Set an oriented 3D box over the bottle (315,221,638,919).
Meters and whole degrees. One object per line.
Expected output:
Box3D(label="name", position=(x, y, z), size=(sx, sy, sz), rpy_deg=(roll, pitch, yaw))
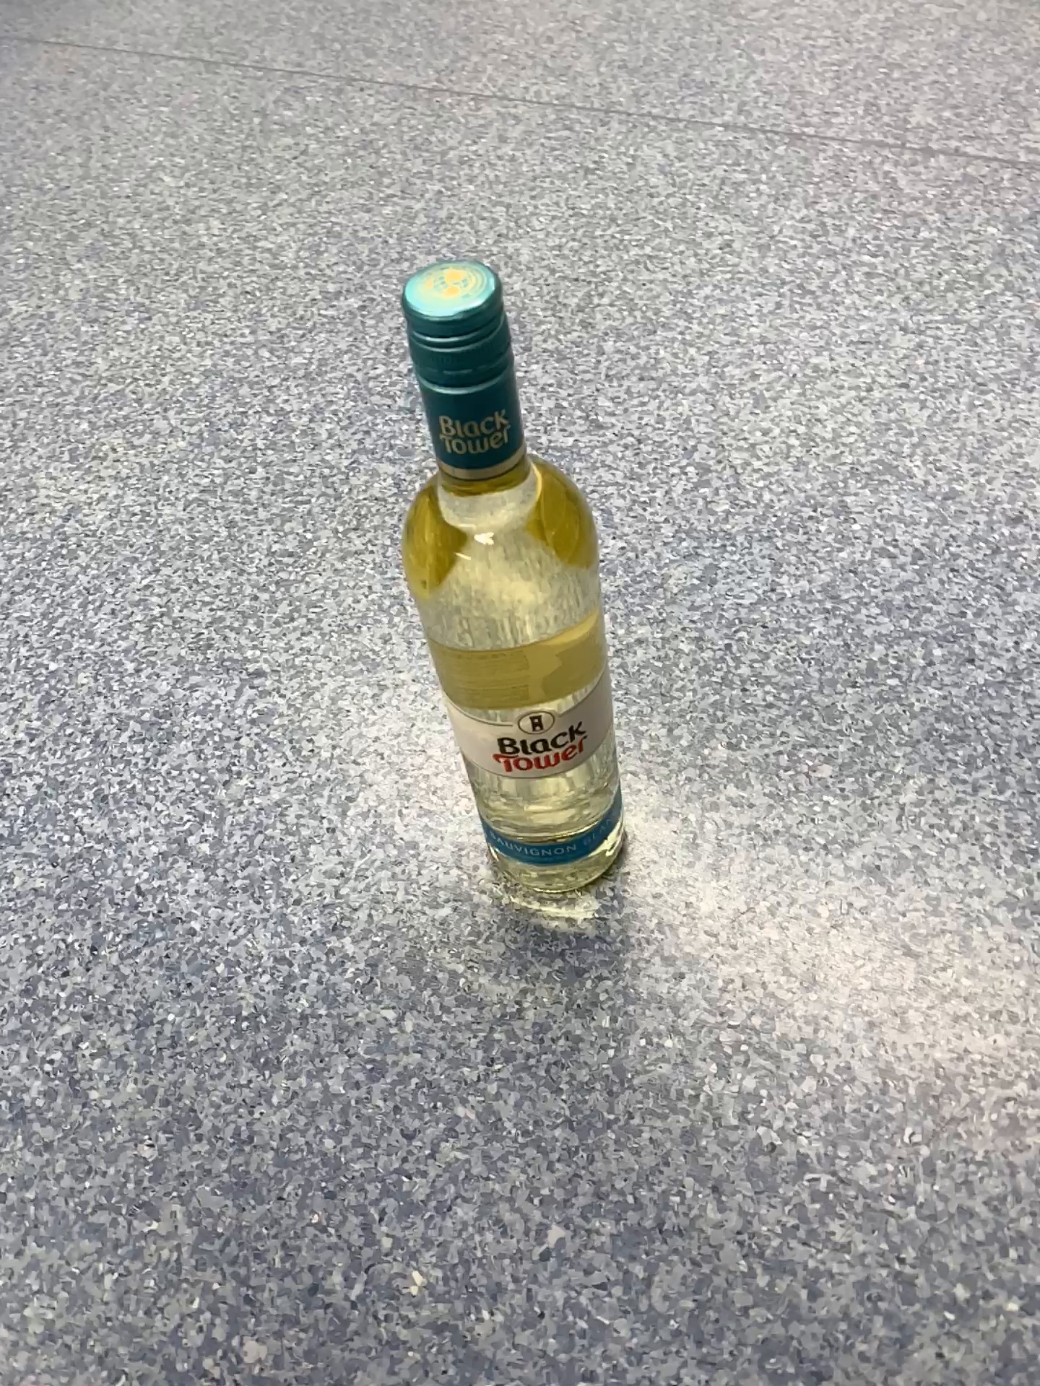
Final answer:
Box3D(label="bottle", position=(-0.002, -0.016, 0.419), size=(0.071, 0.306, 0.066), rpy_deg=(-4, 52, 6))
